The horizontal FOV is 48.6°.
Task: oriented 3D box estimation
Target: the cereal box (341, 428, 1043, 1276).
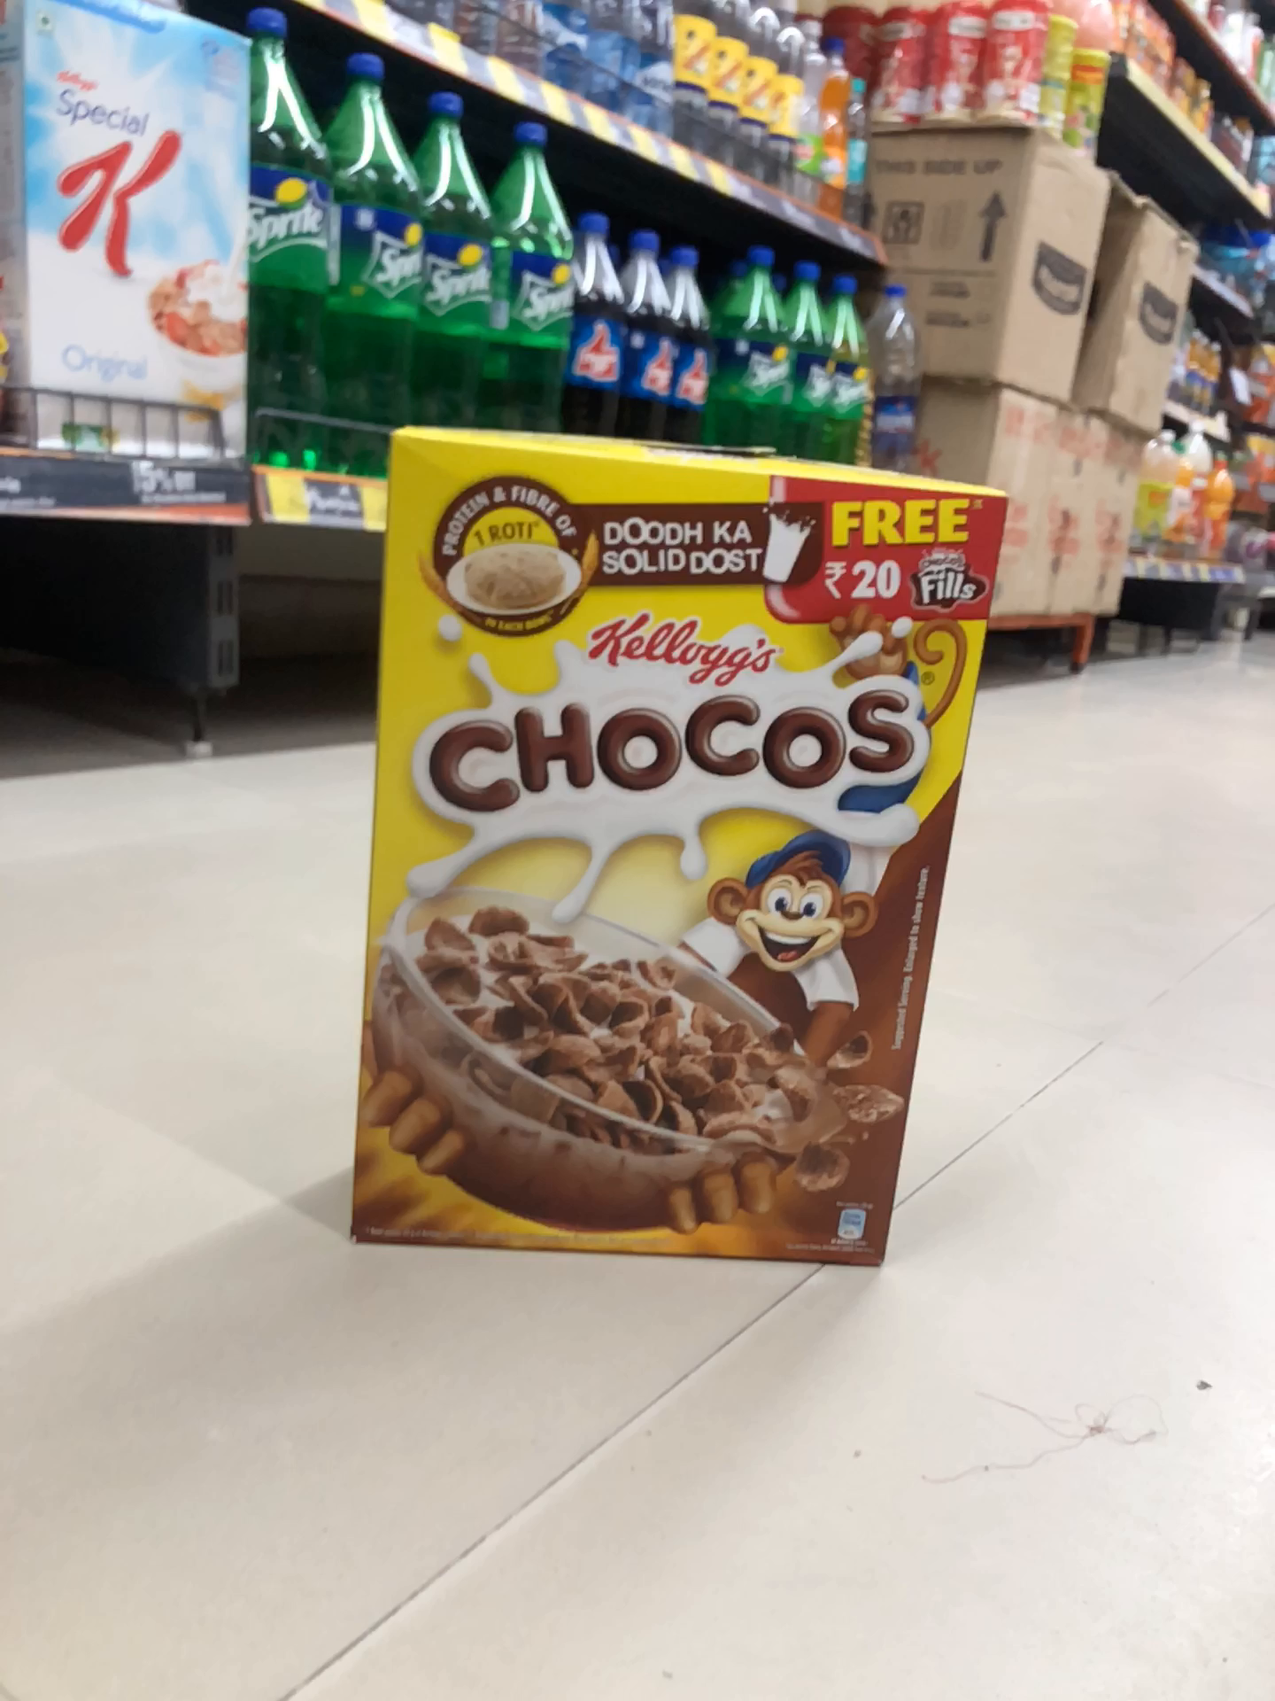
[{"bbox_3d":[0.008,0.004,0.472,0.190,0.259,0.070,4,16,-6],"label":"cereal box"}]
